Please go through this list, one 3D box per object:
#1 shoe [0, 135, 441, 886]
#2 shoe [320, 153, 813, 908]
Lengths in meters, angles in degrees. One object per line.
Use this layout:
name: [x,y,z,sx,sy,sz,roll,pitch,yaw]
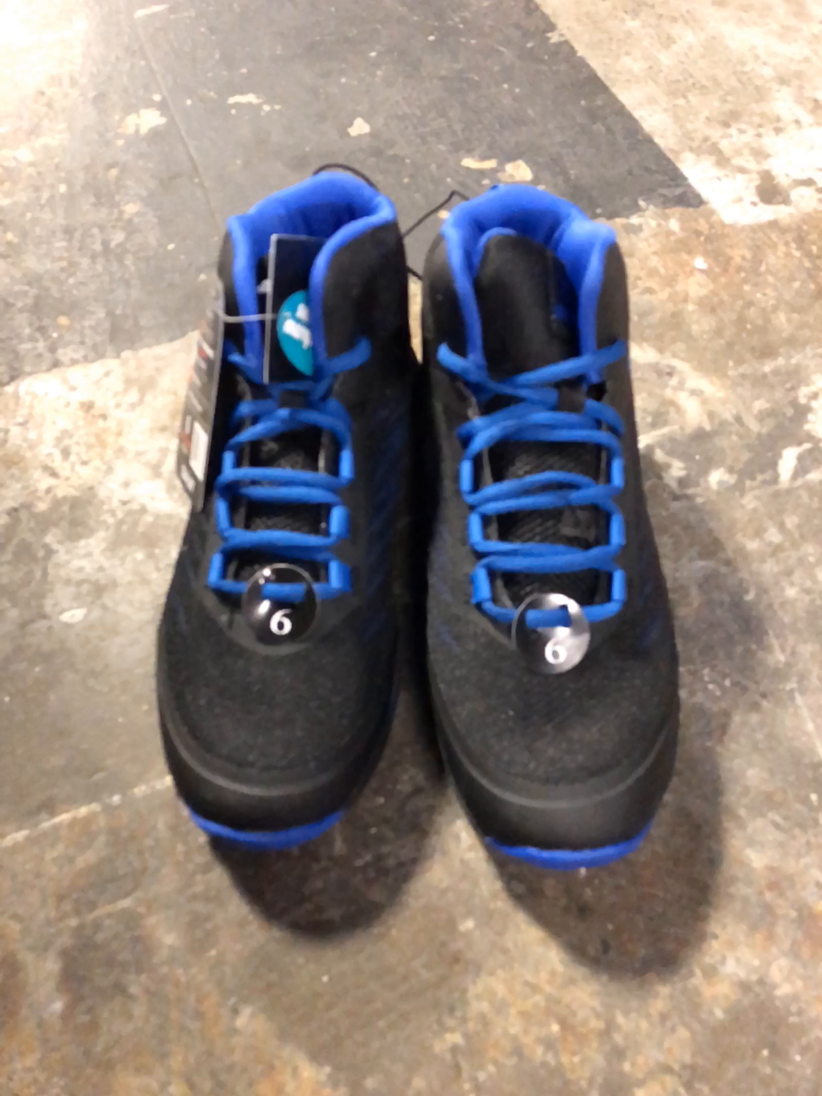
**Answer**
shoe: [-0.057,-0.018,0.305,0.100,0.119,0.221,3,58,10]
shoe: [0.041,-0.008,0.313,0.110,0.119,0.231,-3,58,6]
